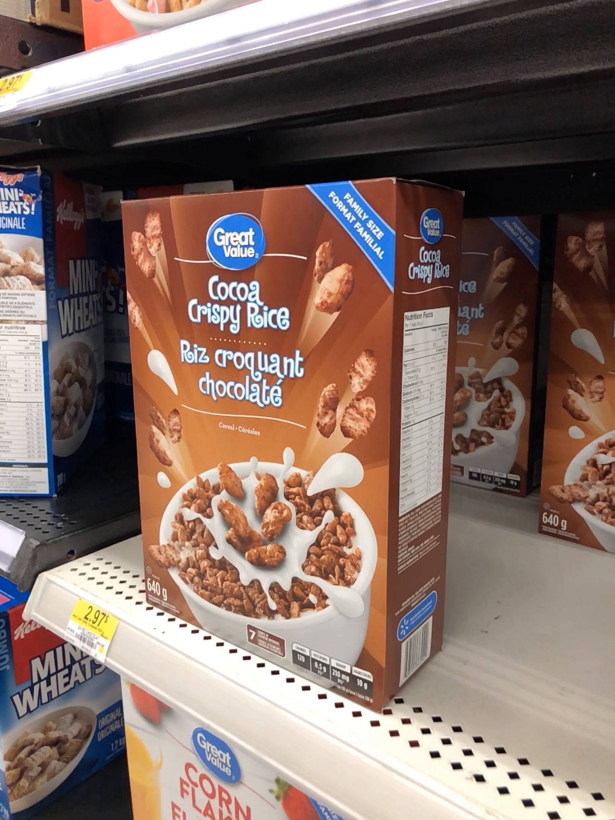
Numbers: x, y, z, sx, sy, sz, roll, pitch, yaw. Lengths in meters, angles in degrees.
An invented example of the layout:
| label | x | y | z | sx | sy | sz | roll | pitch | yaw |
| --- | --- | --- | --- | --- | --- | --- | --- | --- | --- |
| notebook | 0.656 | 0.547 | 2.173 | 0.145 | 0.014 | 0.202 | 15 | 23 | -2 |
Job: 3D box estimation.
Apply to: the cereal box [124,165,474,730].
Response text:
| label | x | y | z | sx | sy | sz | roll | pitch | yaw |
| --- | --- | --- | --- | --- | --- | --- | --- | --- | --- |
| cereal box | -0.013 | 0.011 | 0.443 | 0.210 | 0.299 | 0.080 | 9 | 15 | 38 |
